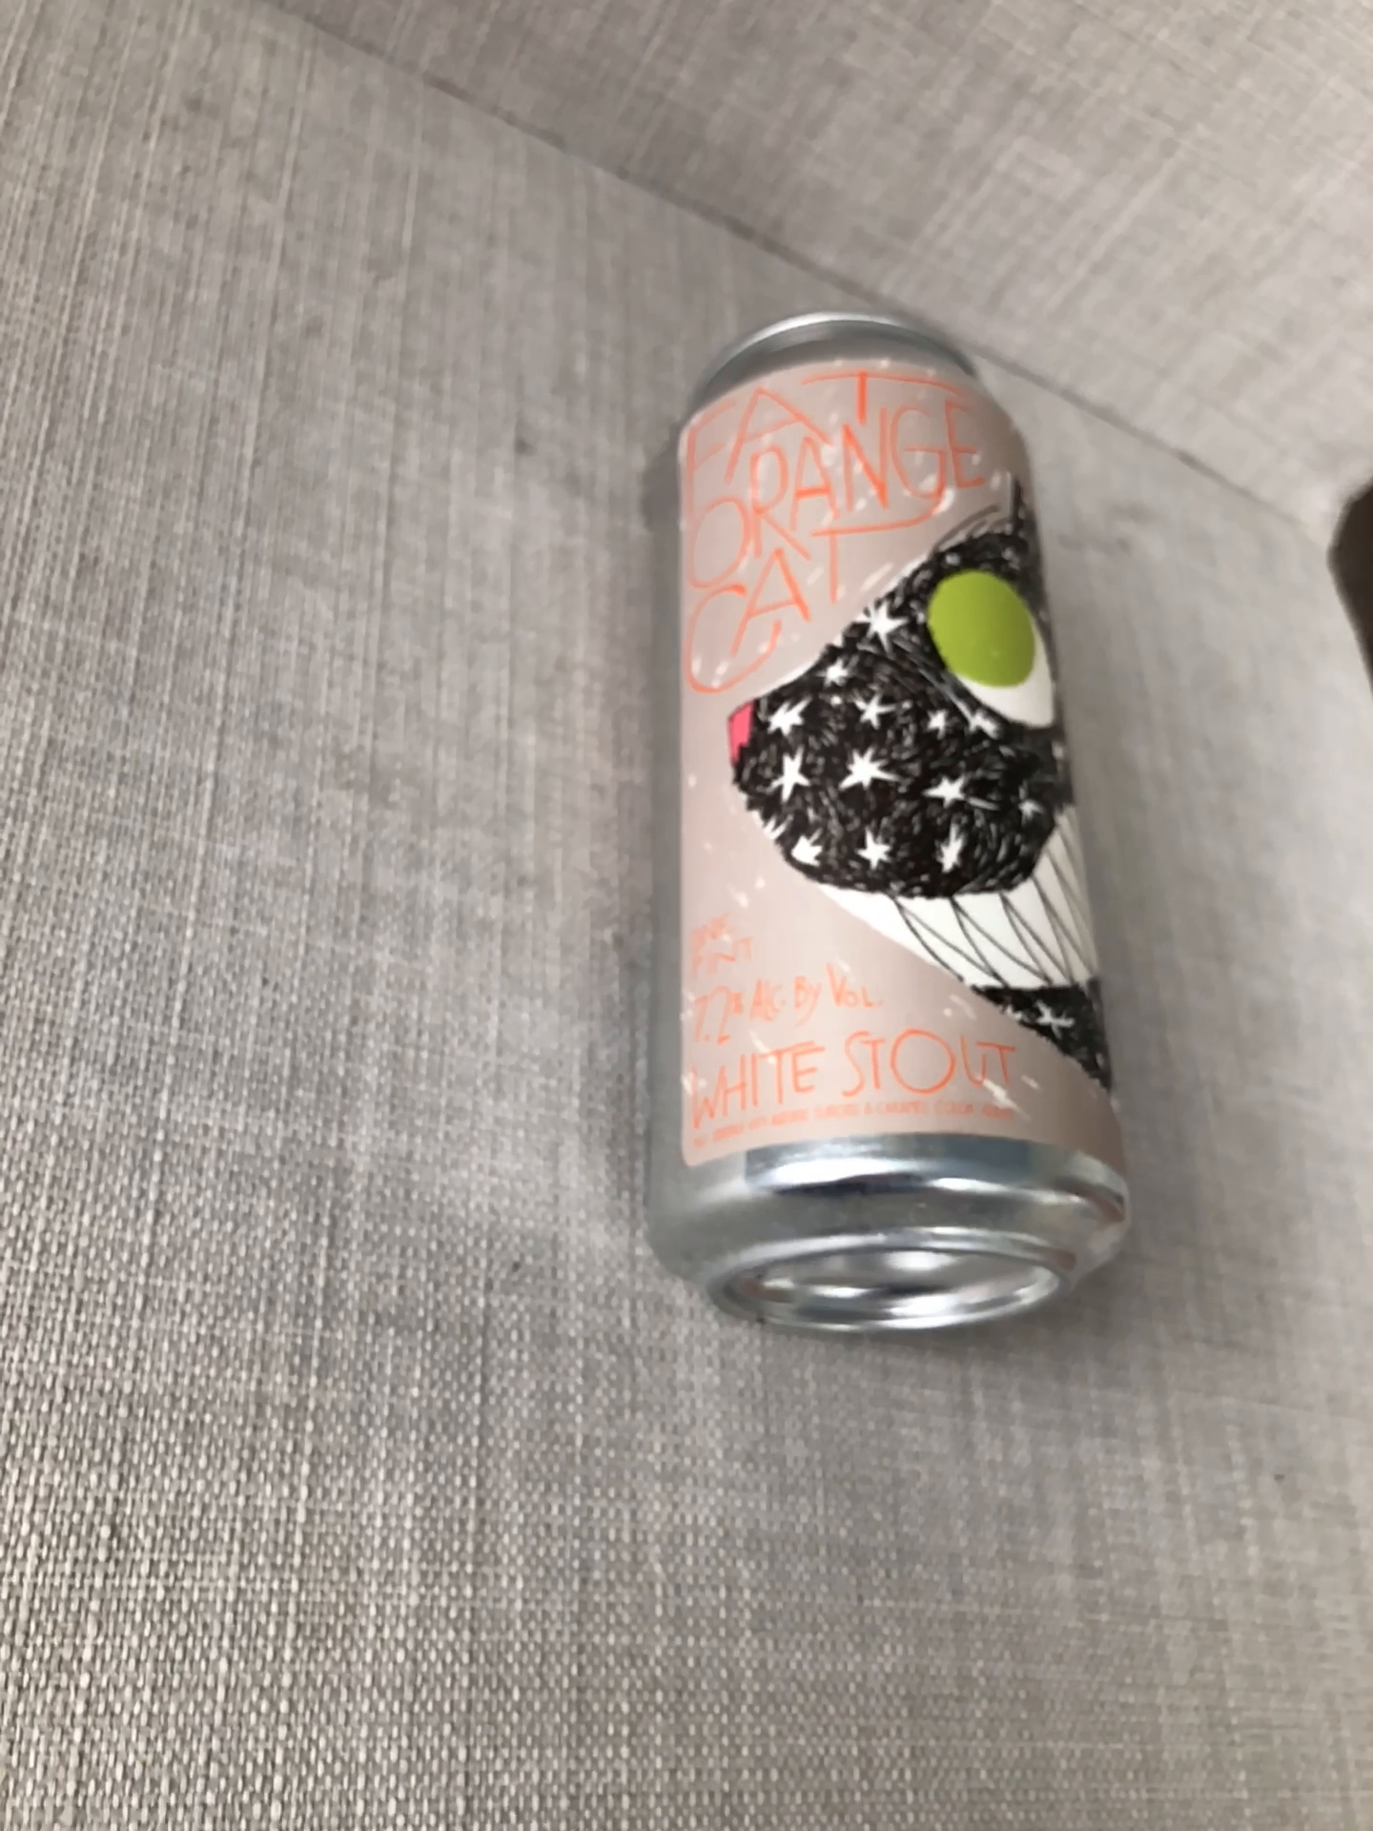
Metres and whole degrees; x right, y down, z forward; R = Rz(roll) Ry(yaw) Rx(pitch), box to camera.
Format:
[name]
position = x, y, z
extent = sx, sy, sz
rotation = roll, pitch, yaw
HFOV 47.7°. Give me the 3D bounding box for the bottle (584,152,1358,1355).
[bottle]
position = 0.035, -0.019, 0.231
extent = 0.070, 0.069, 0.151
rotation = 15, 62, -29
